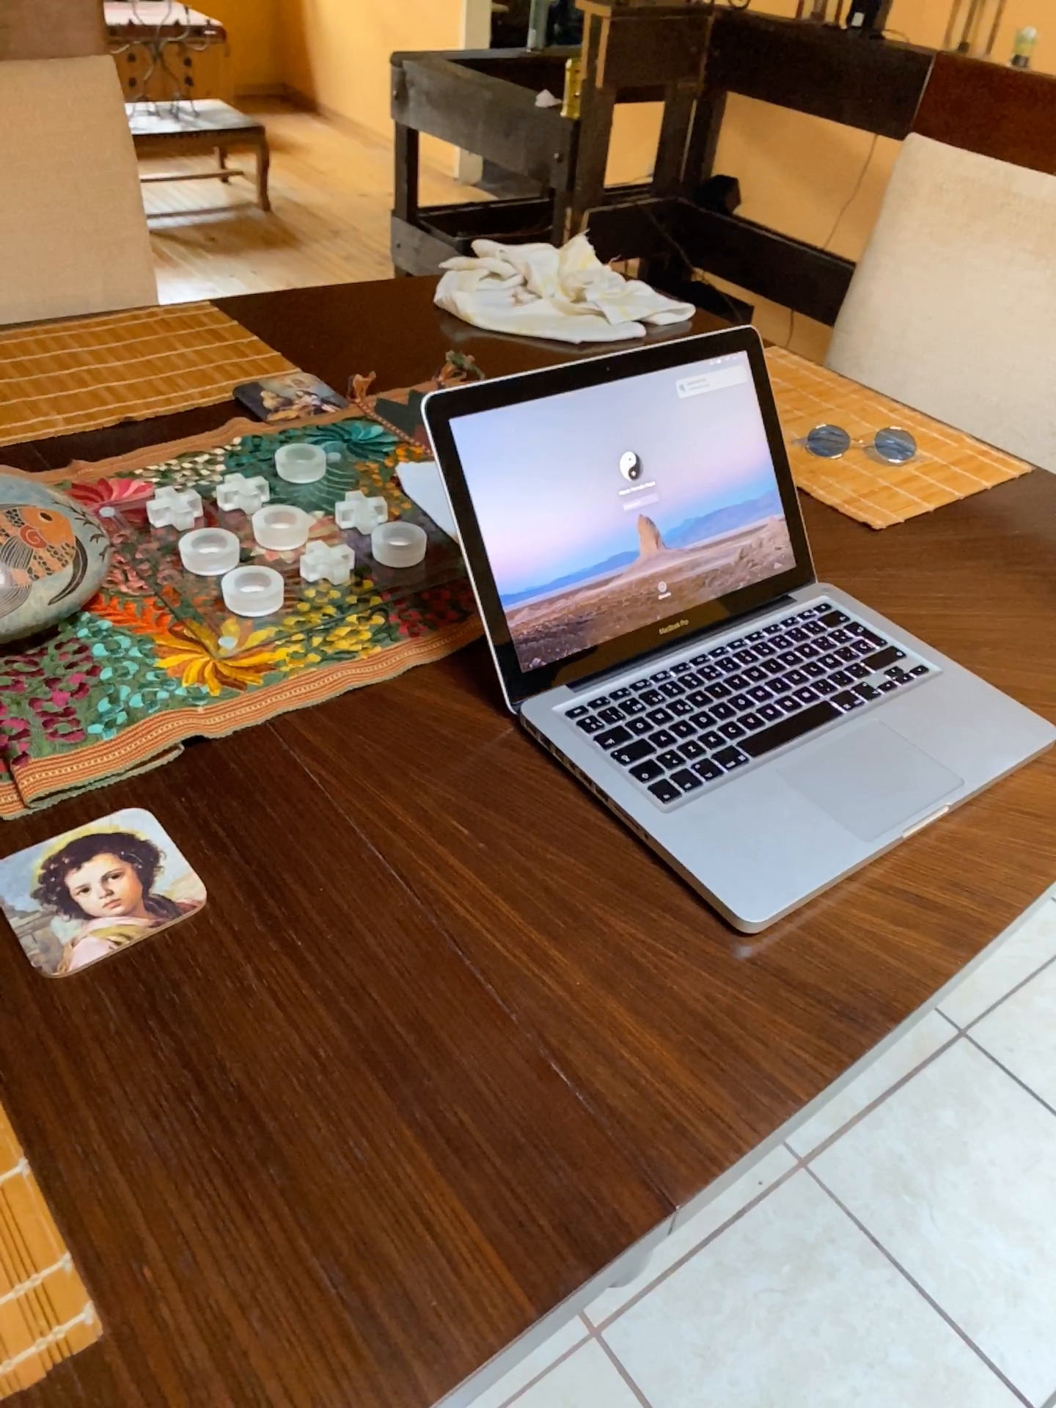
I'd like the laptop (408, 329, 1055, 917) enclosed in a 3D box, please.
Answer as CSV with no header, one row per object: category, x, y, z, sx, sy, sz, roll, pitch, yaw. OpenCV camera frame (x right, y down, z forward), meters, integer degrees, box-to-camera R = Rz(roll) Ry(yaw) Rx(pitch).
laptop,0.149,-0.095,0.765,0.325,0.170,0.358,-22,47,-31
